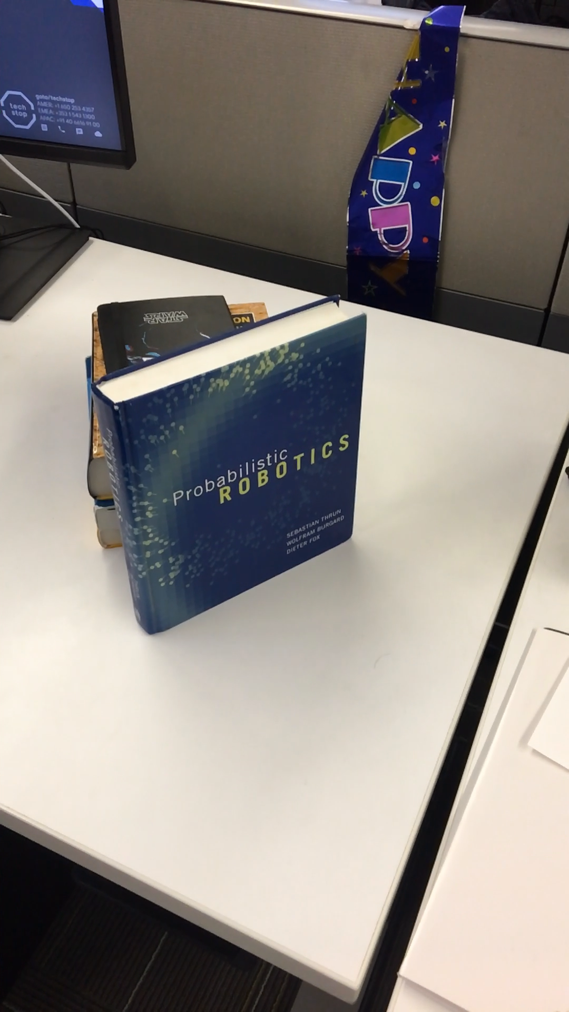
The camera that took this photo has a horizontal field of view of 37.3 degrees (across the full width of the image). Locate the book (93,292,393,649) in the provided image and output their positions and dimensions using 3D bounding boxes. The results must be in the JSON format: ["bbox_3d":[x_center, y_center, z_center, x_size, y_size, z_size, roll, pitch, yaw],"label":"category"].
[{"bbox_3d":[-0.025,-0.023,0.654,0.210,0.230,0.050,-24,49,-25],"label":"book"}]

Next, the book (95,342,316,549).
[{"bbox_3d":[-0.088,-0.072,0.834,0.190,0.030,0.260,-6,44,-8],"label":"book"}]

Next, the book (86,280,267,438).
[{"bbox_3d":[-0.102,-0.139,0.758,0.130,0.020,0.200,-9,44,-11],"label":"book"}]

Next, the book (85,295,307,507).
[{"bbox_3d":[-0.090,-0.108,0.784,0.180,0.050,0.240,-6,44,-7],"label":"book"}]

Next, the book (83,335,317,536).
[{"bbox_3d":[-0.090,-0.078,0.812,0.190,0.030,0.240,-8,44,-9],"label":"book"}]
